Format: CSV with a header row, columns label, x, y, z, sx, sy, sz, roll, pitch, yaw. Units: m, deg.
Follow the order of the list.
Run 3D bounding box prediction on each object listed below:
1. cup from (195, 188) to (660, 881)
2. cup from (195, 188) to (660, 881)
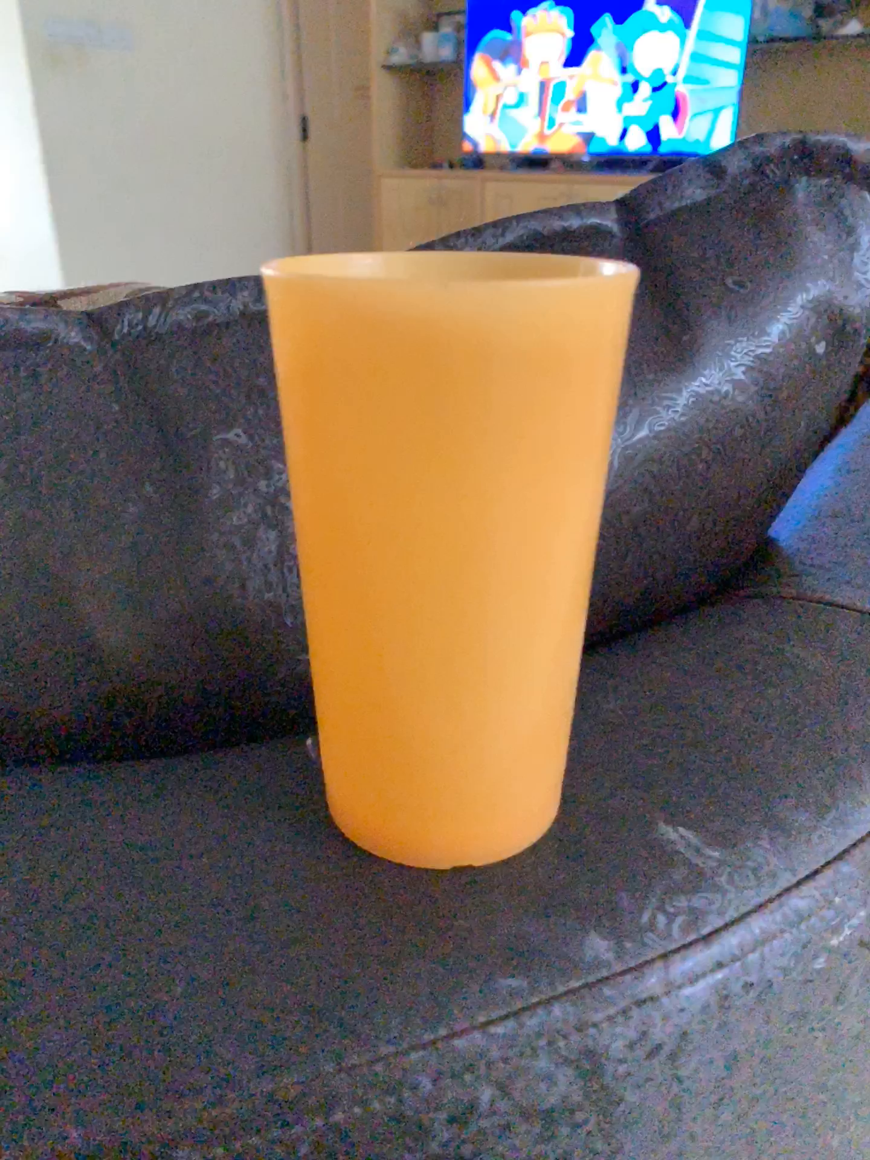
label,x,y,z,sx,sy,sz,roll,pitch,yaw
cup,0.001,-0.013,0.194,0.070,0.129,0.071,0,25,0
cup,0.001,-0.013,0.194,0.070,0.129,0.071,0,25,0
